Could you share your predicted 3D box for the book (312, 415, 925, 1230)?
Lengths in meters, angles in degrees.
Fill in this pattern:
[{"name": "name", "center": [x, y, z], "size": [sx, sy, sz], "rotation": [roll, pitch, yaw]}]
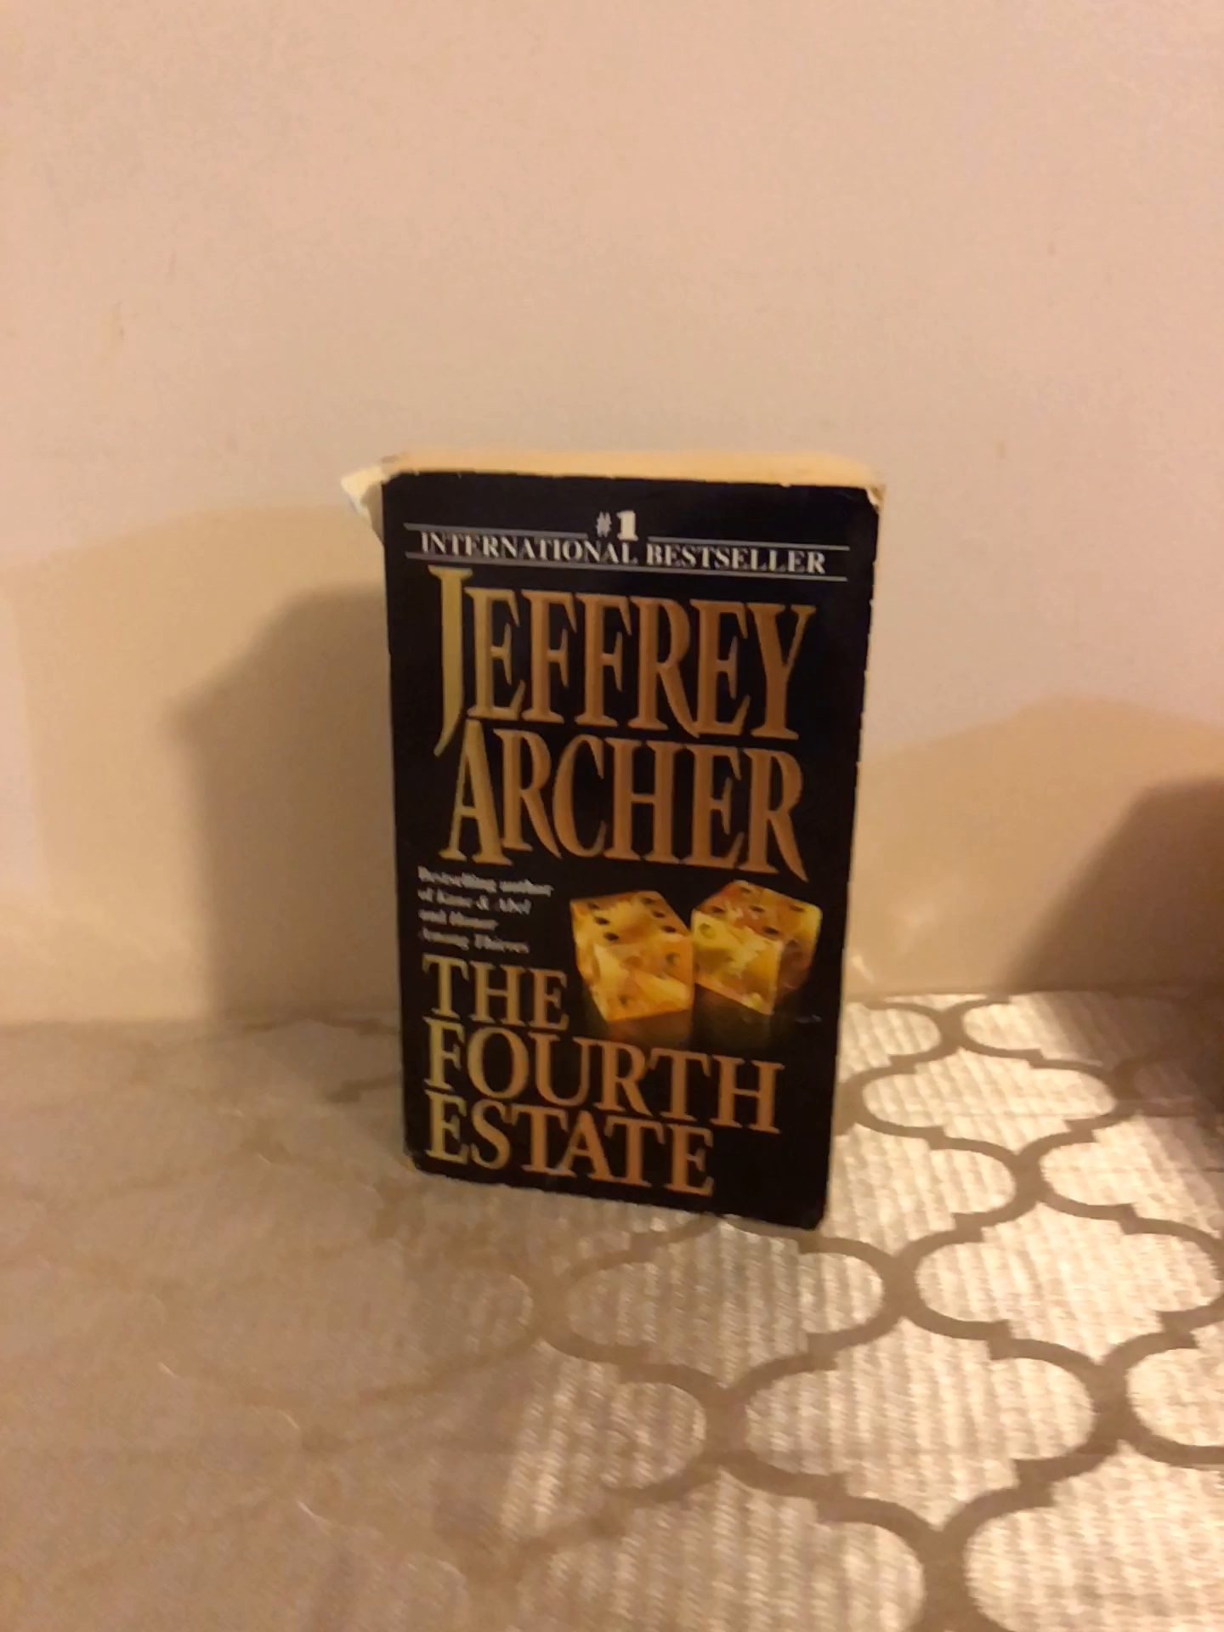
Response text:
[{"name": "book", "center": [0.005, -0.003, 0.316], "size": [0.120, 0.169, 0.060], "rotation": [4, 18, 12]}]
